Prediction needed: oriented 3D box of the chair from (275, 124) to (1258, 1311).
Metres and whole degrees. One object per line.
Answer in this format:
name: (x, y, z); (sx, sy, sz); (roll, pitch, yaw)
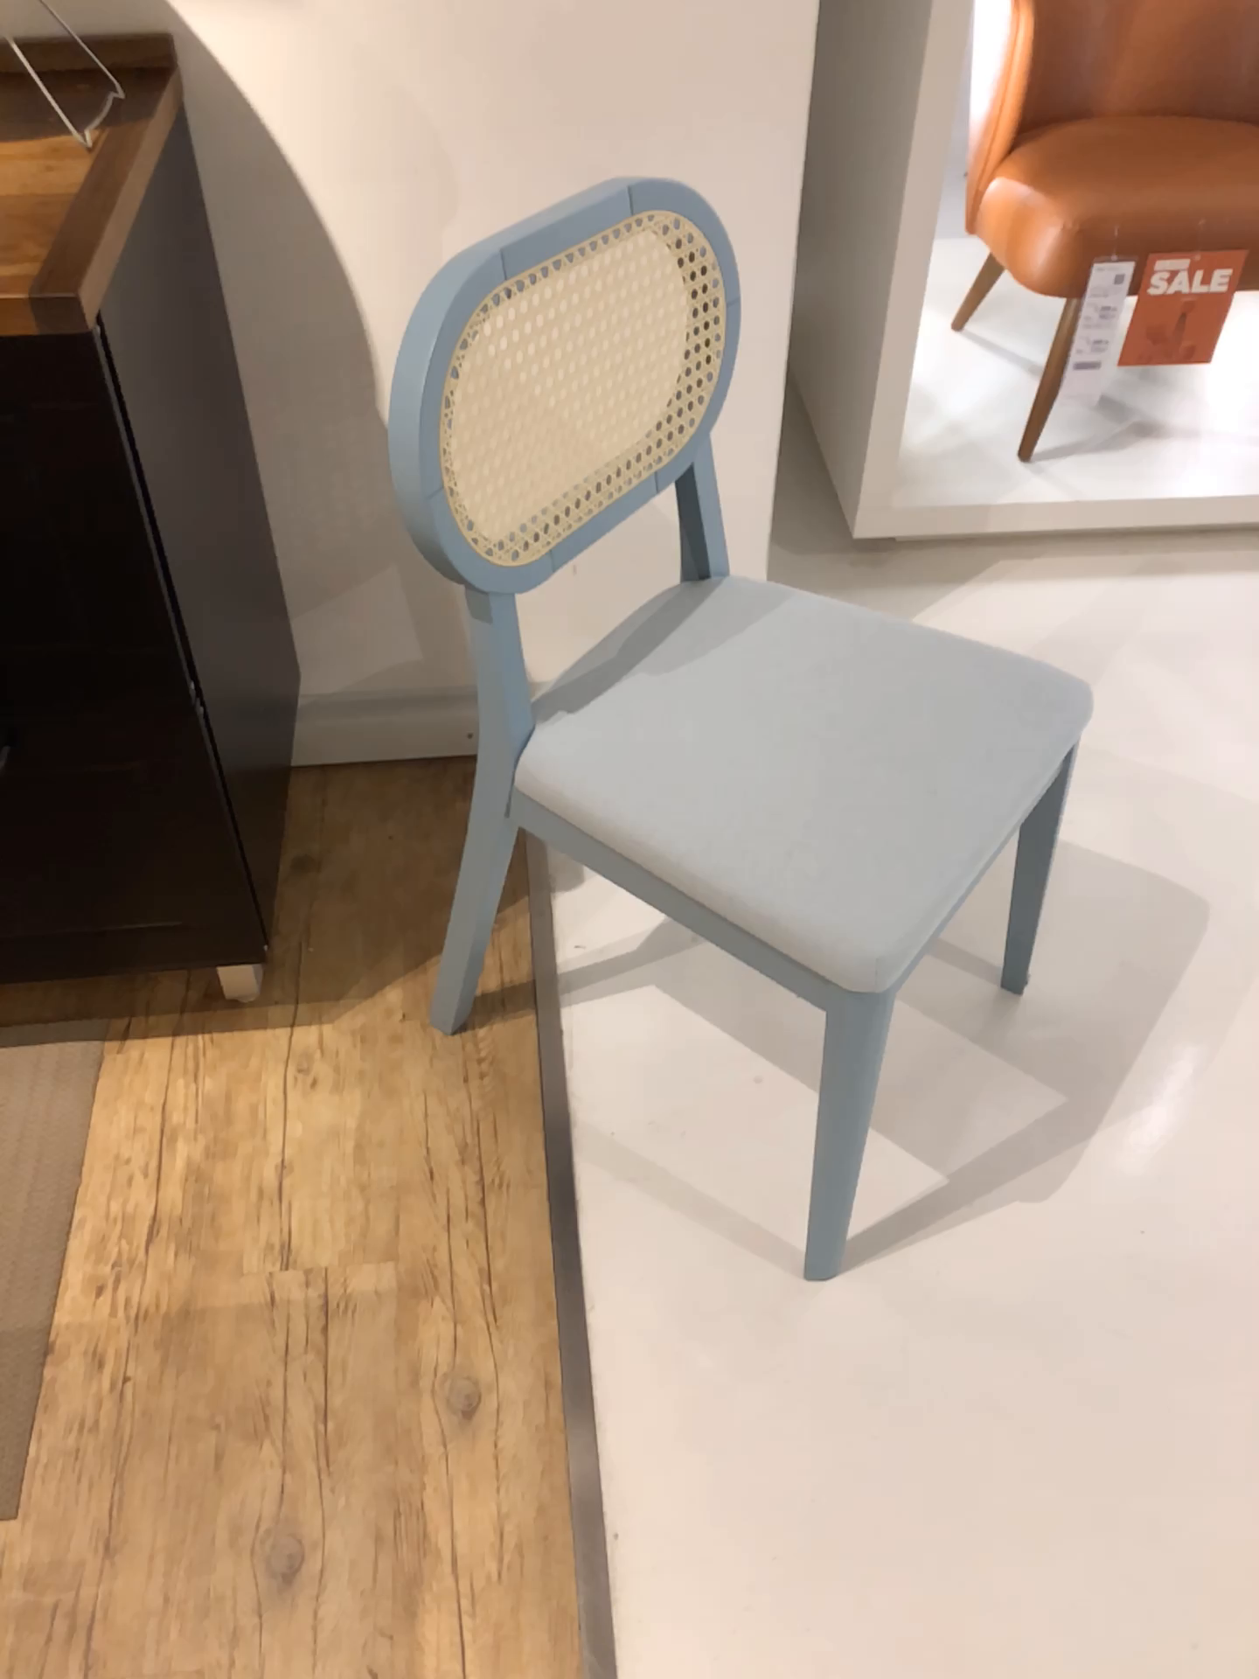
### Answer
chair: (0.115, -0.101, 1.283); (0.561, 0.824, 0.483); (27, 50, 25)
